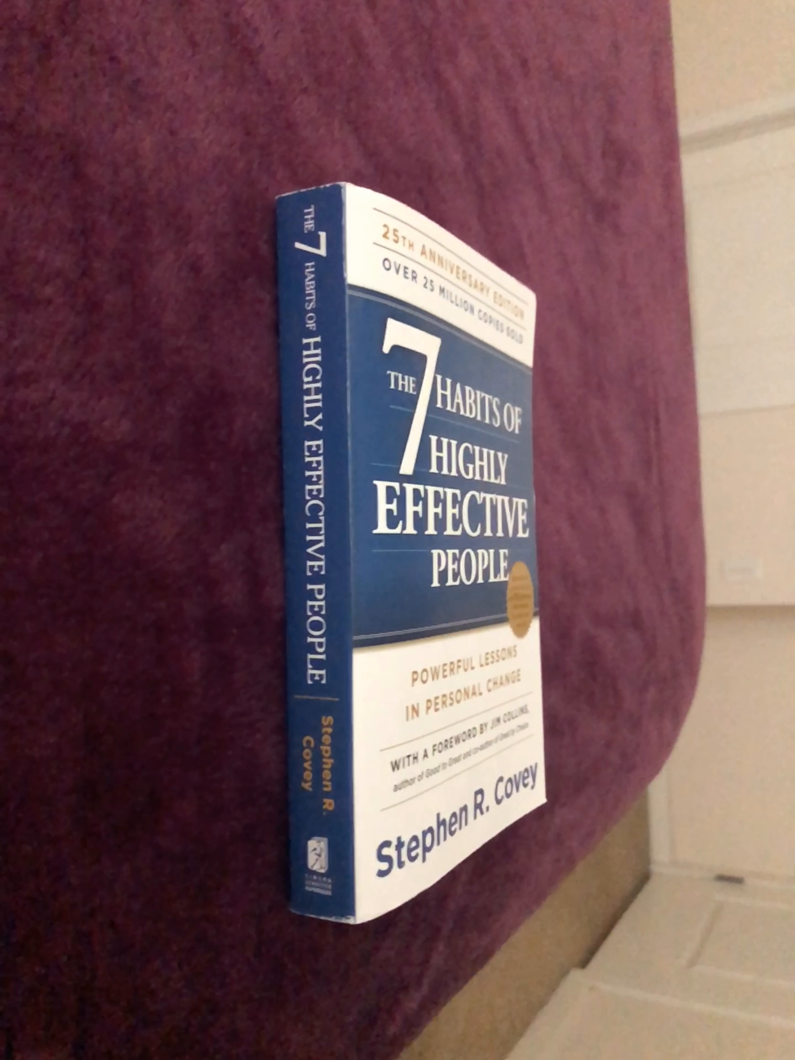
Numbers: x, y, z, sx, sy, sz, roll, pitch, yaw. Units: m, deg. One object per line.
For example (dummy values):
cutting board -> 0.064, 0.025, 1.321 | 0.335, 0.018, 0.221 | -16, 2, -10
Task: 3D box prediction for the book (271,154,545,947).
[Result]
book -> 0.012, 0.006, 0.314 | 0.148, 0.028, 0.217 | 3, 86, -60
